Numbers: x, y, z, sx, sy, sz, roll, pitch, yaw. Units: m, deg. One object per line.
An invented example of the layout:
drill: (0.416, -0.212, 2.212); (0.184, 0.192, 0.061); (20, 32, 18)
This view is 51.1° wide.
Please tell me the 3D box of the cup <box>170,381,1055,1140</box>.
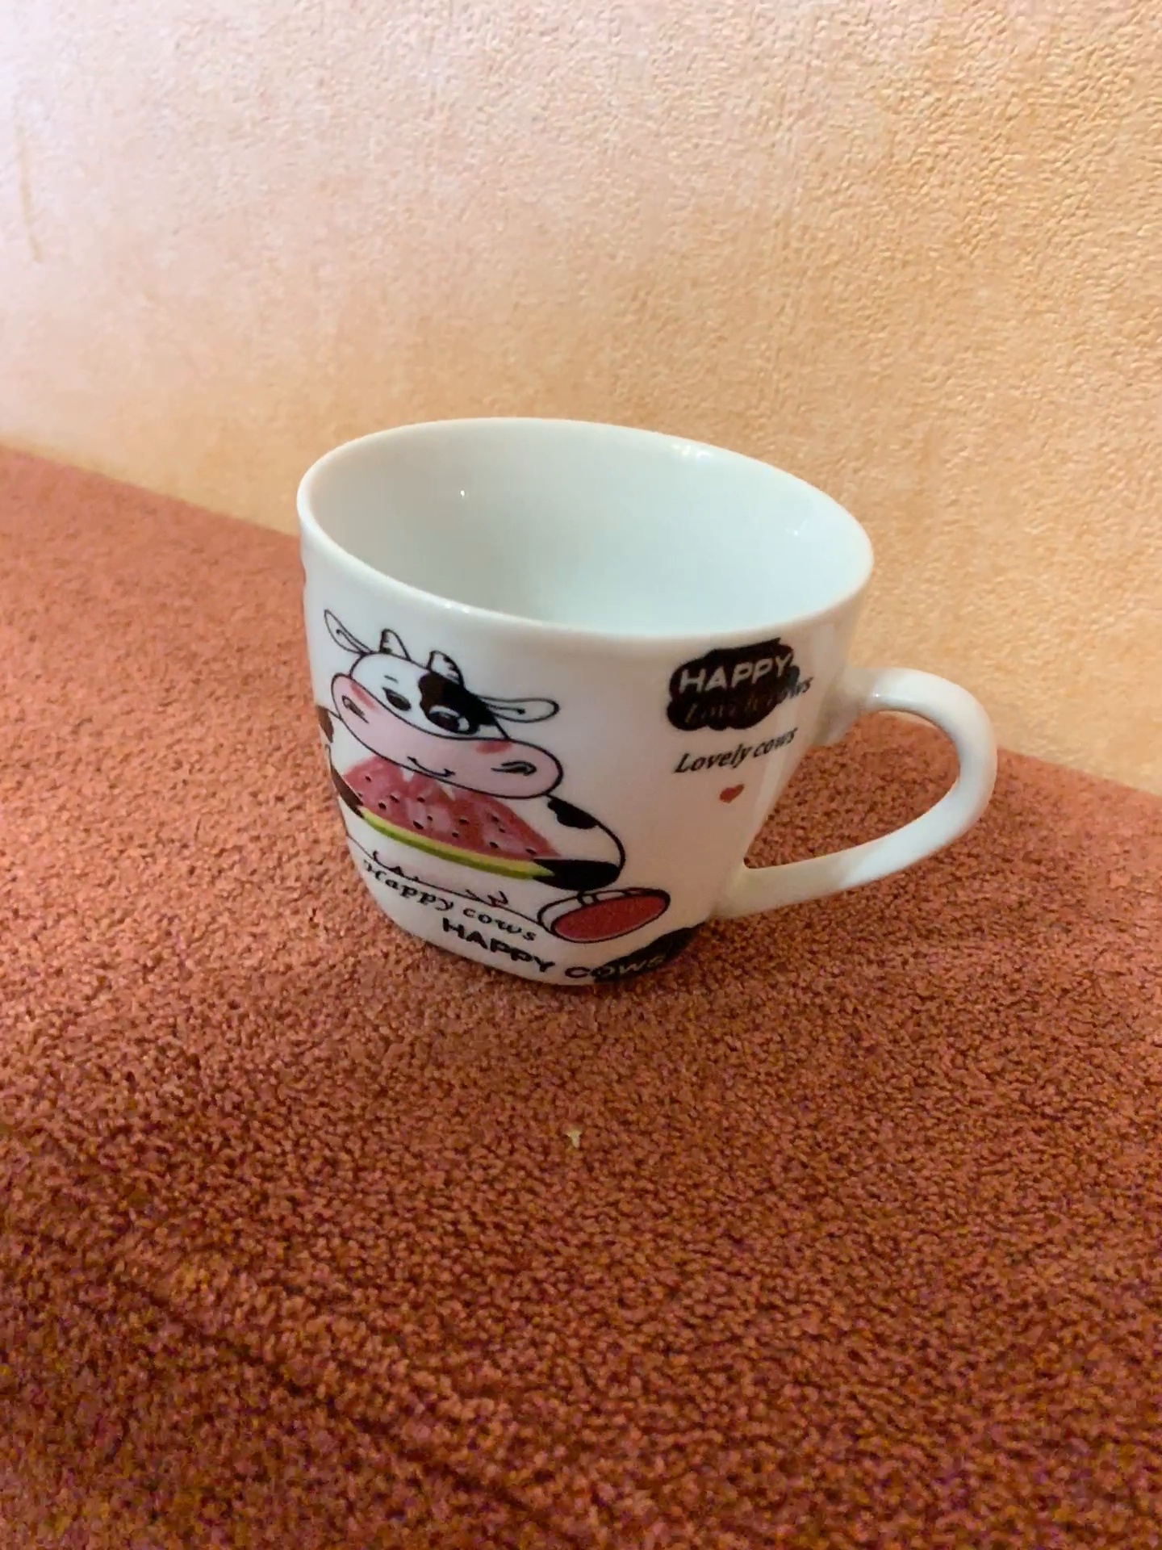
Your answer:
cup: (0.006, -0.012, 0.181); (0.095, 0.056, 0.079); (21, 37, 23)
